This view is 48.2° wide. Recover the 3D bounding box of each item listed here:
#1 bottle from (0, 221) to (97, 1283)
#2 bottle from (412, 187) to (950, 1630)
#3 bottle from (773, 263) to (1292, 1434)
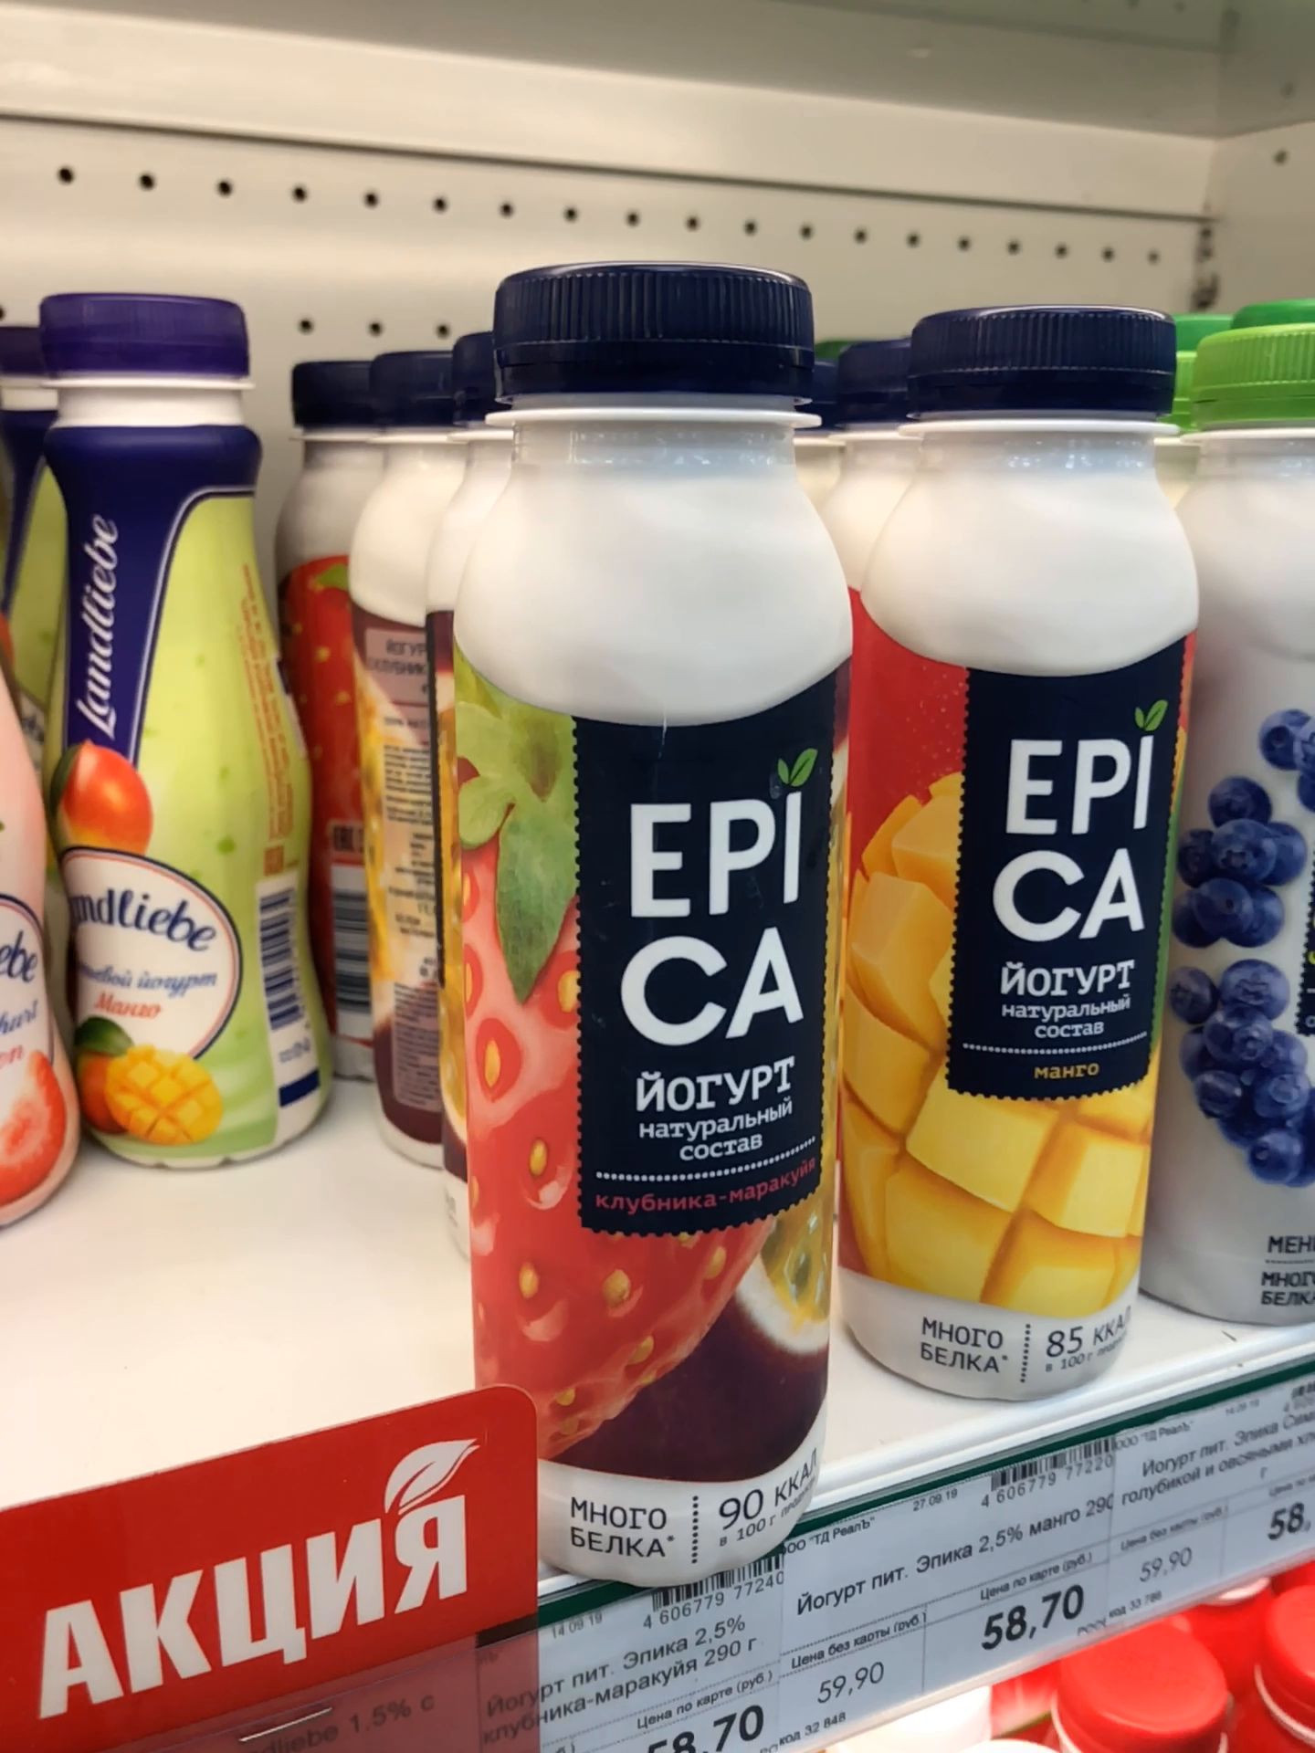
[{"bbox_3d":[-0.148,-0.022,0.281,0.053,0.182,0.051,1,16,0],"label":"bottle"},{"bbox_3d":[0.000,0.006,0.207,0.050,0.180,0.050,1,16,0],"label":"bottle"},{"bbox_3d":[0.055,-0.003,0.245,0.053,0.177,0.051,1,16,0],"label":"bottle"}]
